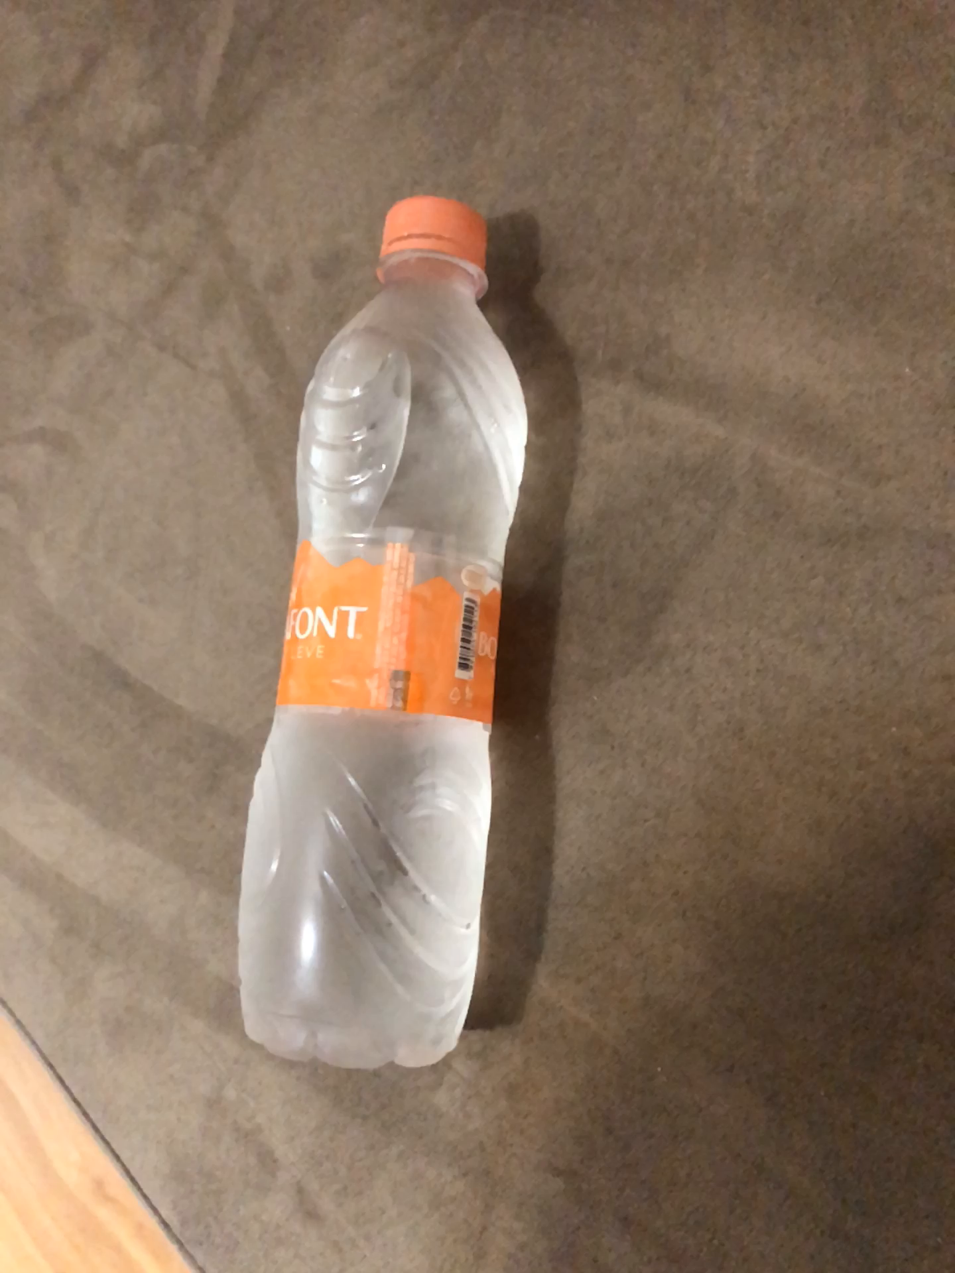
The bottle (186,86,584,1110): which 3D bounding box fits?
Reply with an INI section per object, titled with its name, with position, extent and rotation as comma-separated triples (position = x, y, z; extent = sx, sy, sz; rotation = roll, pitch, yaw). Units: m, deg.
[bottle]
position = -0.021, -0.013, 0.285
extent = 0.070, 0.050, 0.240
rotation = 0, 81, 32
